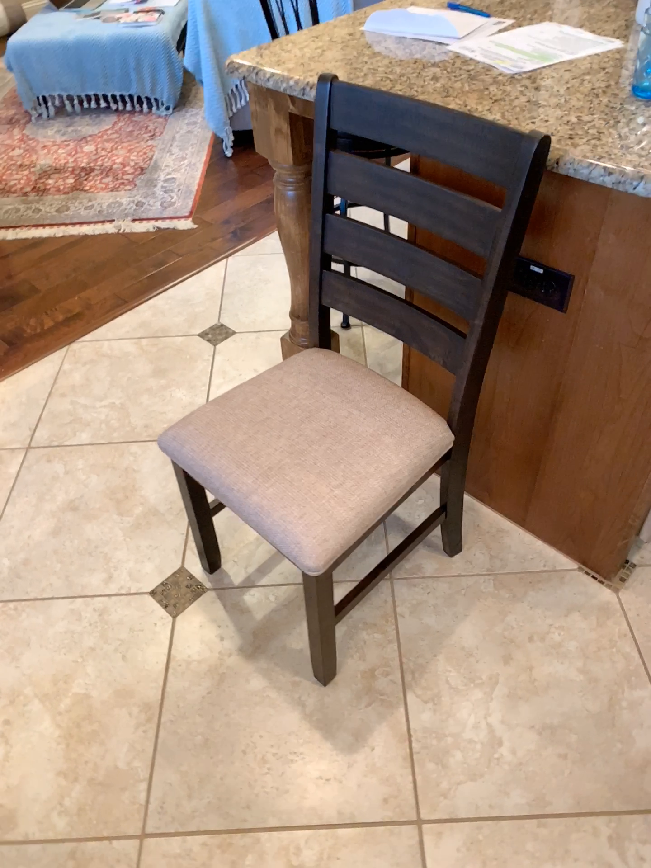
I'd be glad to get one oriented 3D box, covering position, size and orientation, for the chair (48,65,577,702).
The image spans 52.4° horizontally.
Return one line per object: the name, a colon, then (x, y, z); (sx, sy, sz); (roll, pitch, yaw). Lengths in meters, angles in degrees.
chair: (0.010, -0.054, 1.196); (0.468, 0.910, 0.525); (33, 56, 31)
